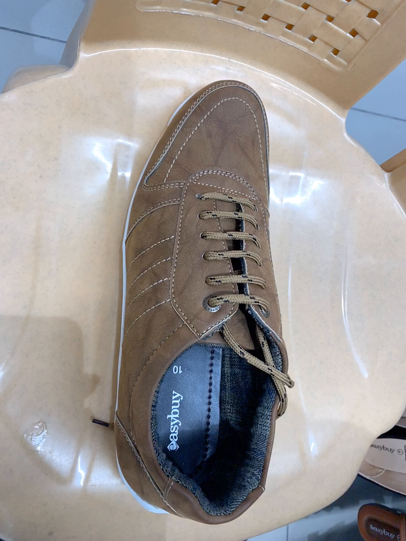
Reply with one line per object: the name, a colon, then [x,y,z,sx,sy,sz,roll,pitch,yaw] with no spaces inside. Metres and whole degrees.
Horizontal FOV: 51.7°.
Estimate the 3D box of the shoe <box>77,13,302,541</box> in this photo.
shoe: [-0.007,0.003,0.289,0.100,0.100,0.310,10,74,-18]
